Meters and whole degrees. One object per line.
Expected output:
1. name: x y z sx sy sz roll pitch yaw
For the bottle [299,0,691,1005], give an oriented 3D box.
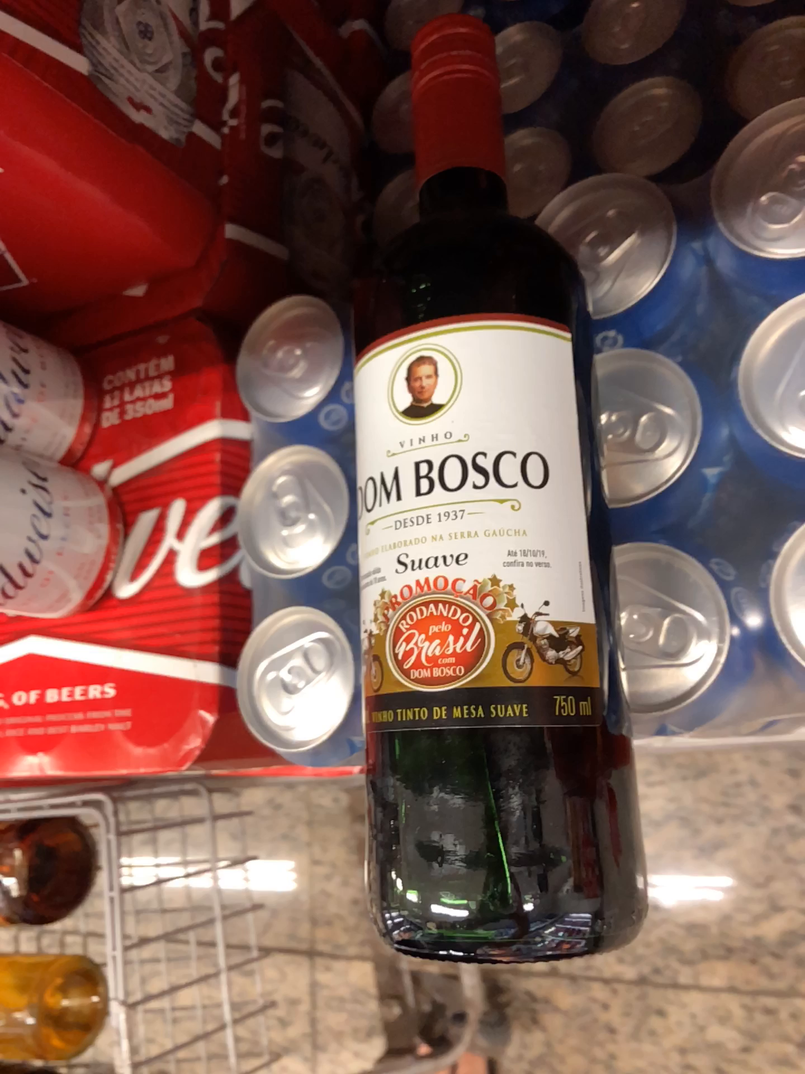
1. bottle: 0.024 -0.033 0.278 0.080 0.070 0.300 -9 76 29
